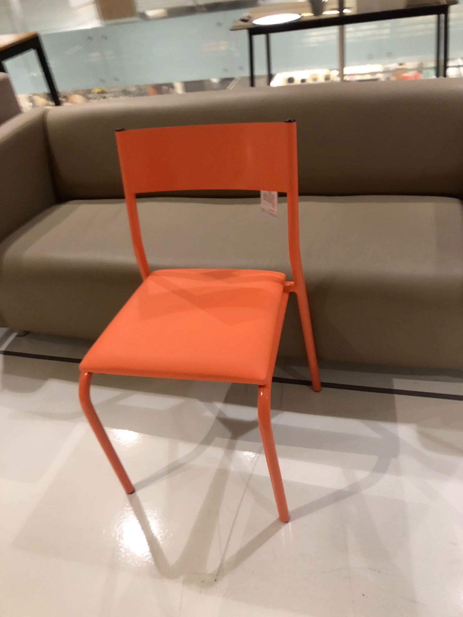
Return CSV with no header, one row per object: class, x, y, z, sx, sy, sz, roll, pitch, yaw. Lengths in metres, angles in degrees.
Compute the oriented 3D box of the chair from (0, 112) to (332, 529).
chair,-0.060,0.032,1.203,0.500,0.784,0.494,3,39,18
